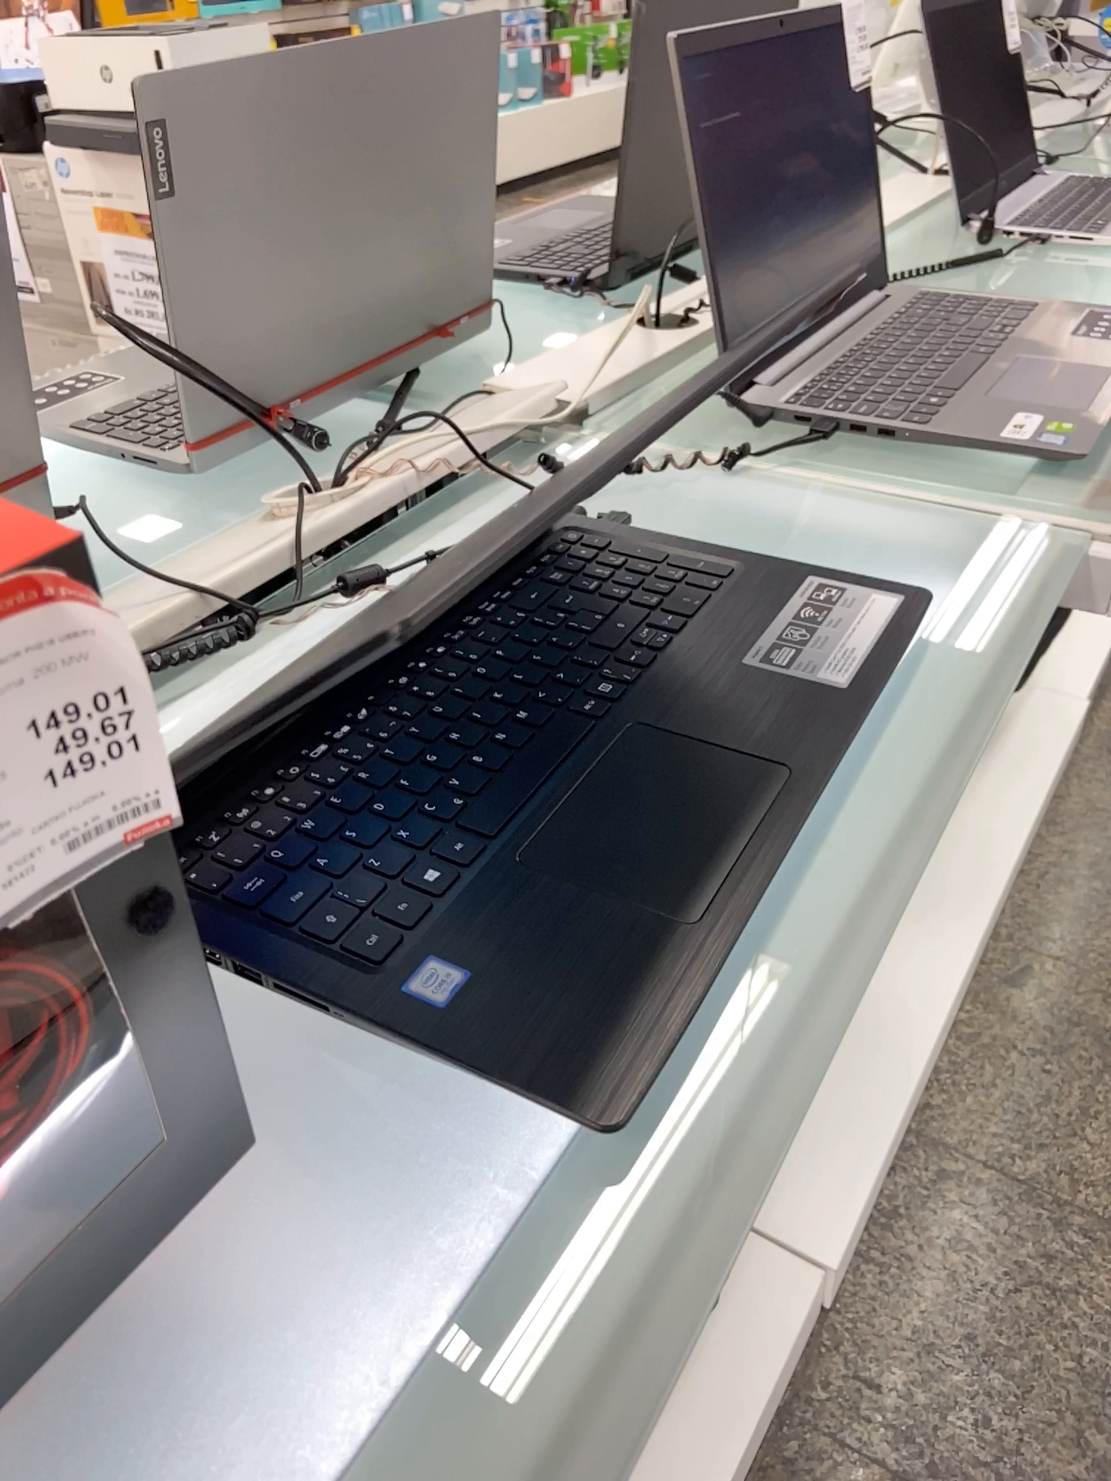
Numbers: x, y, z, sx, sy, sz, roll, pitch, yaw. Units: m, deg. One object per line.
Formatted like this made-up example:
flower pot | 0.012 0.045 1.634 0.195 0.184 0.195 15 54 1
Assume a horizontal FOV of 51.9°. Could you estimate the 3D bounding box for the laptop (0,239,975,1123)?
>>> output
laptop | -0.001 -0.077 0.484 0.239 0.157 0.372 17 40 24
